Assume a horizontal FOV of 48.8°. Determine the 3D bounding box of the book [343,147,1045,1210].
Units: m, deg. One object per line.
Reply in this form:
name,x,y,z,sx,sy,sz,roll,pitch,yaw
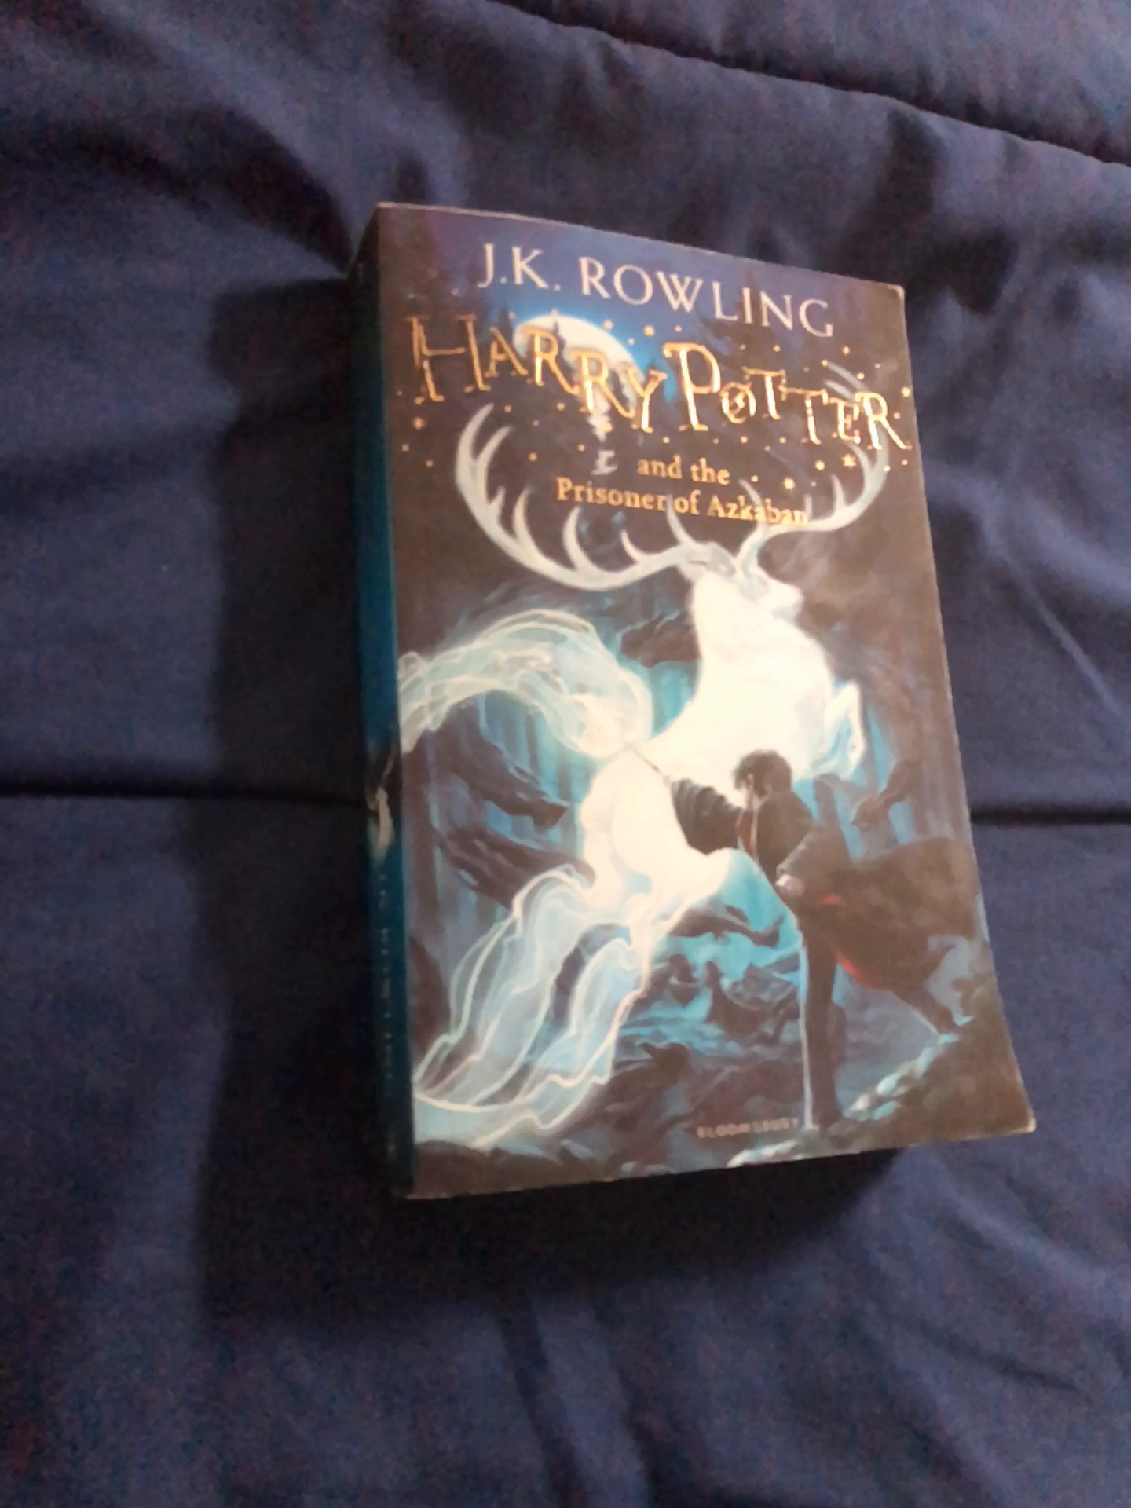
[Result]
book,0.023,-0.016,0.271,0.134,0.045,0.200,1,78,-20
